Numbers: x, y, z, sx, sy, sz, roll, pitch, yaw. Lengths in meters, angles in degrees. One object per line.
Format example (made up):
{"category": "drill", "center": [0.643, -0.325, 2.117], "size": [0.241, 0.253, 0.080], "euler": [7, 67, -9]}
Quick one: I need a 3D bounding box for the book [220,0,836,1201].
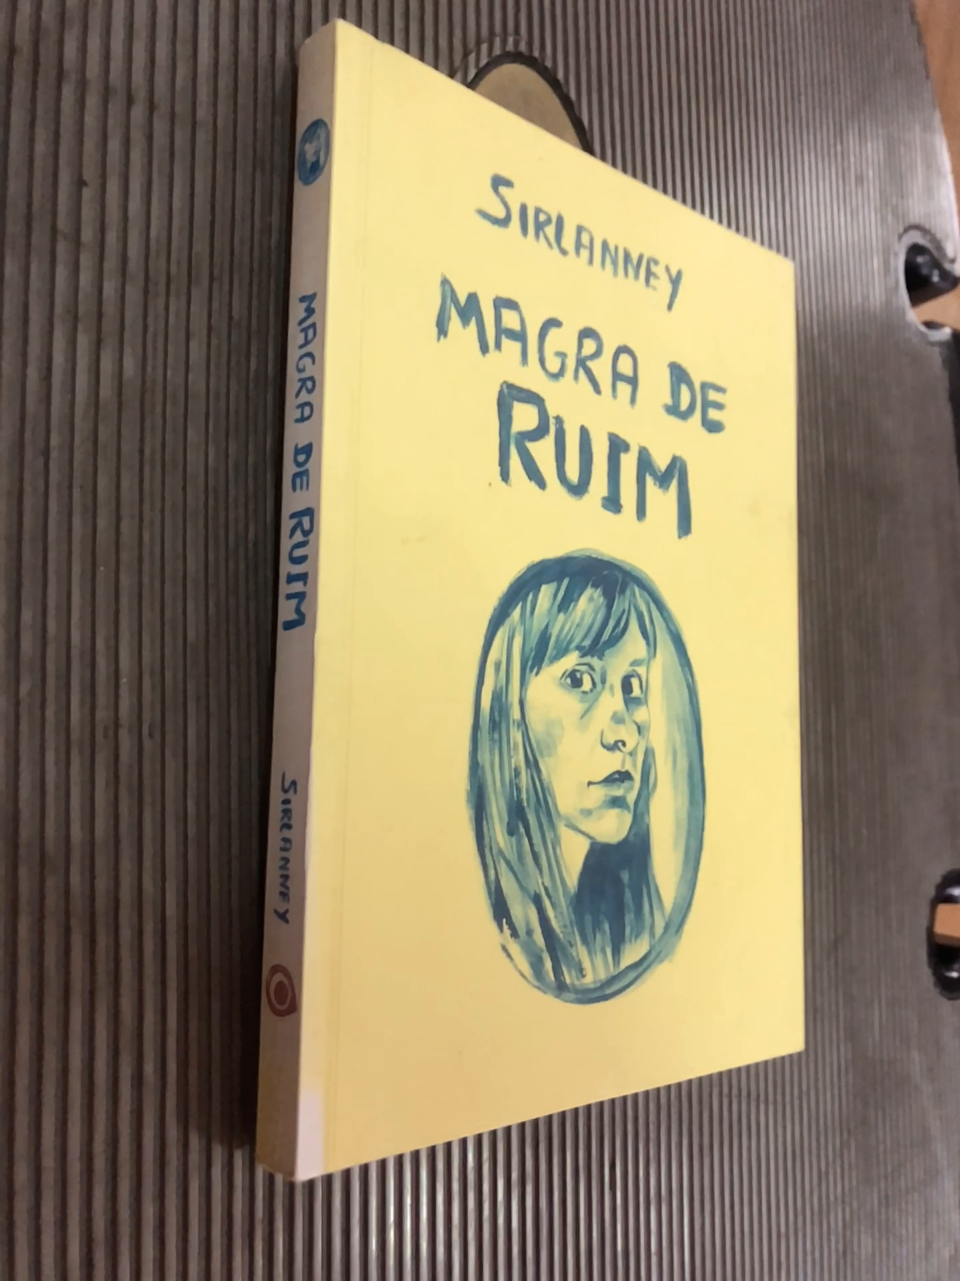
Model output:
{"category": "book", "center": [0.025, -0.011, 0.230], "size": [0.151, 0.020, 0.210], "euler": [8, 82, -39]}
